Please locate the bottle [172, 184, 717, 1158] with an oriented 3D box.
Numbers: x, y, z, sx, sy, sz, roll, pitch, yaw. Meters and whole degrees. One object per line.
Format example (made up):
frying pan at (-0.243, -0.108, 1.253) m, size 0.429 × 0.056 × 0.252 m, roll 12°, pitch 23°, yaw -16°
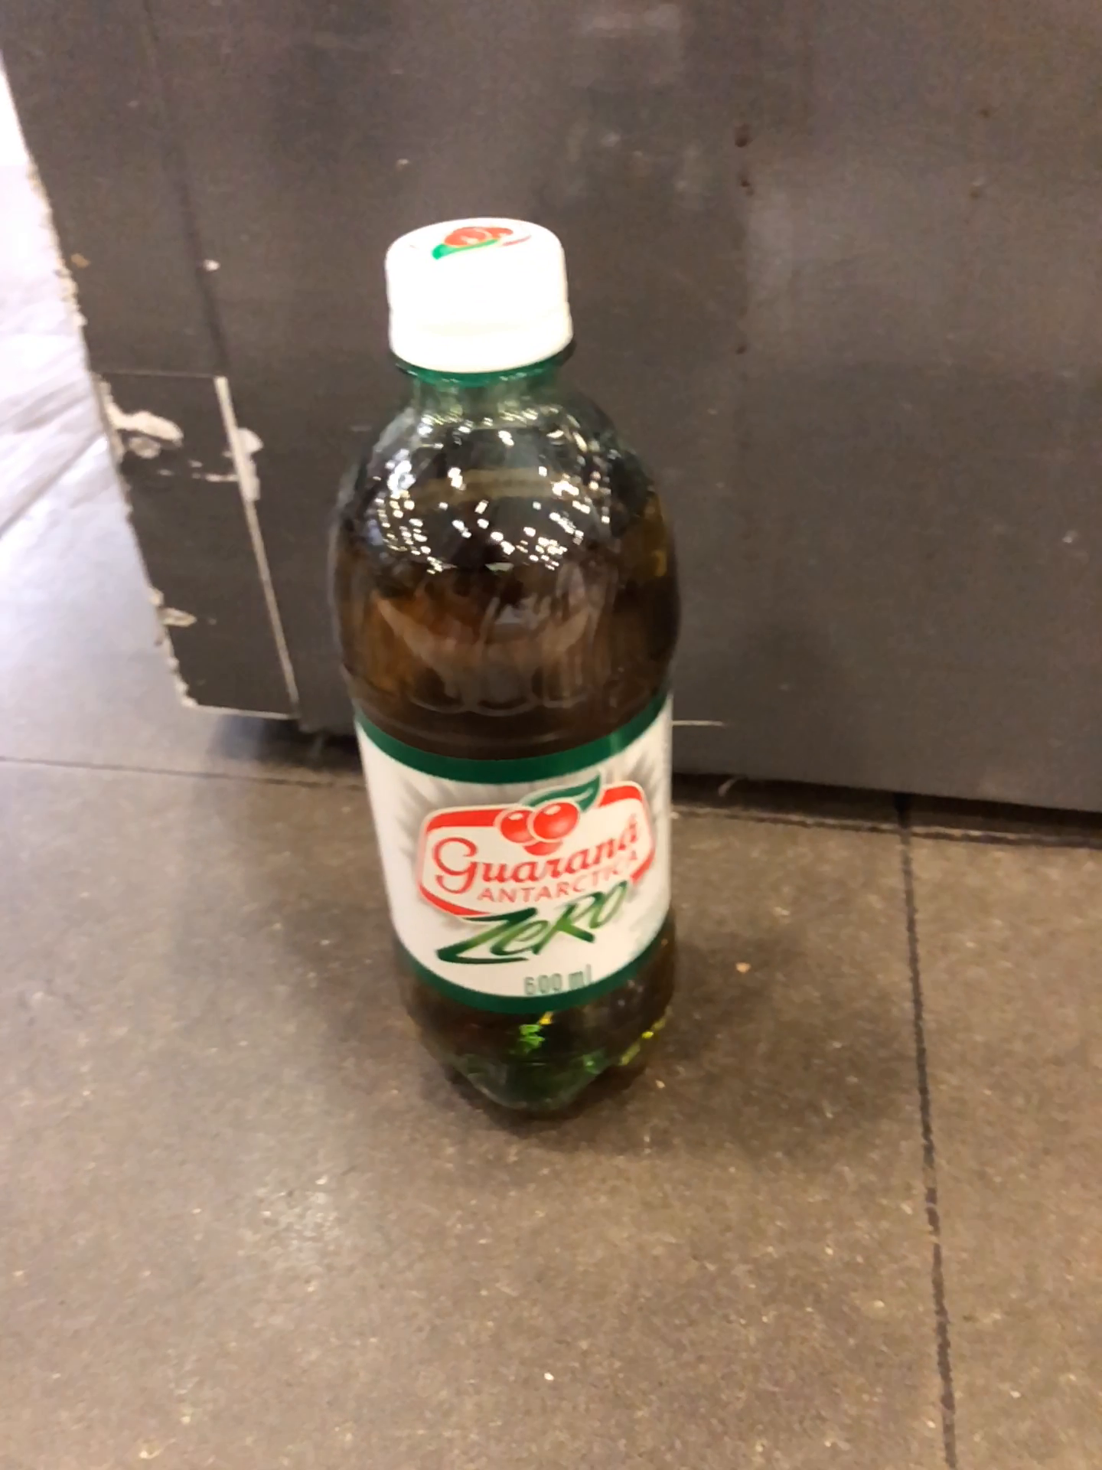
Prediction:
bottle at (-0.012, 0.000, 0.272) m, size 0.080 × 0.208 × 0.071 m, roll -3°, pitch 38°, yaw 0°
